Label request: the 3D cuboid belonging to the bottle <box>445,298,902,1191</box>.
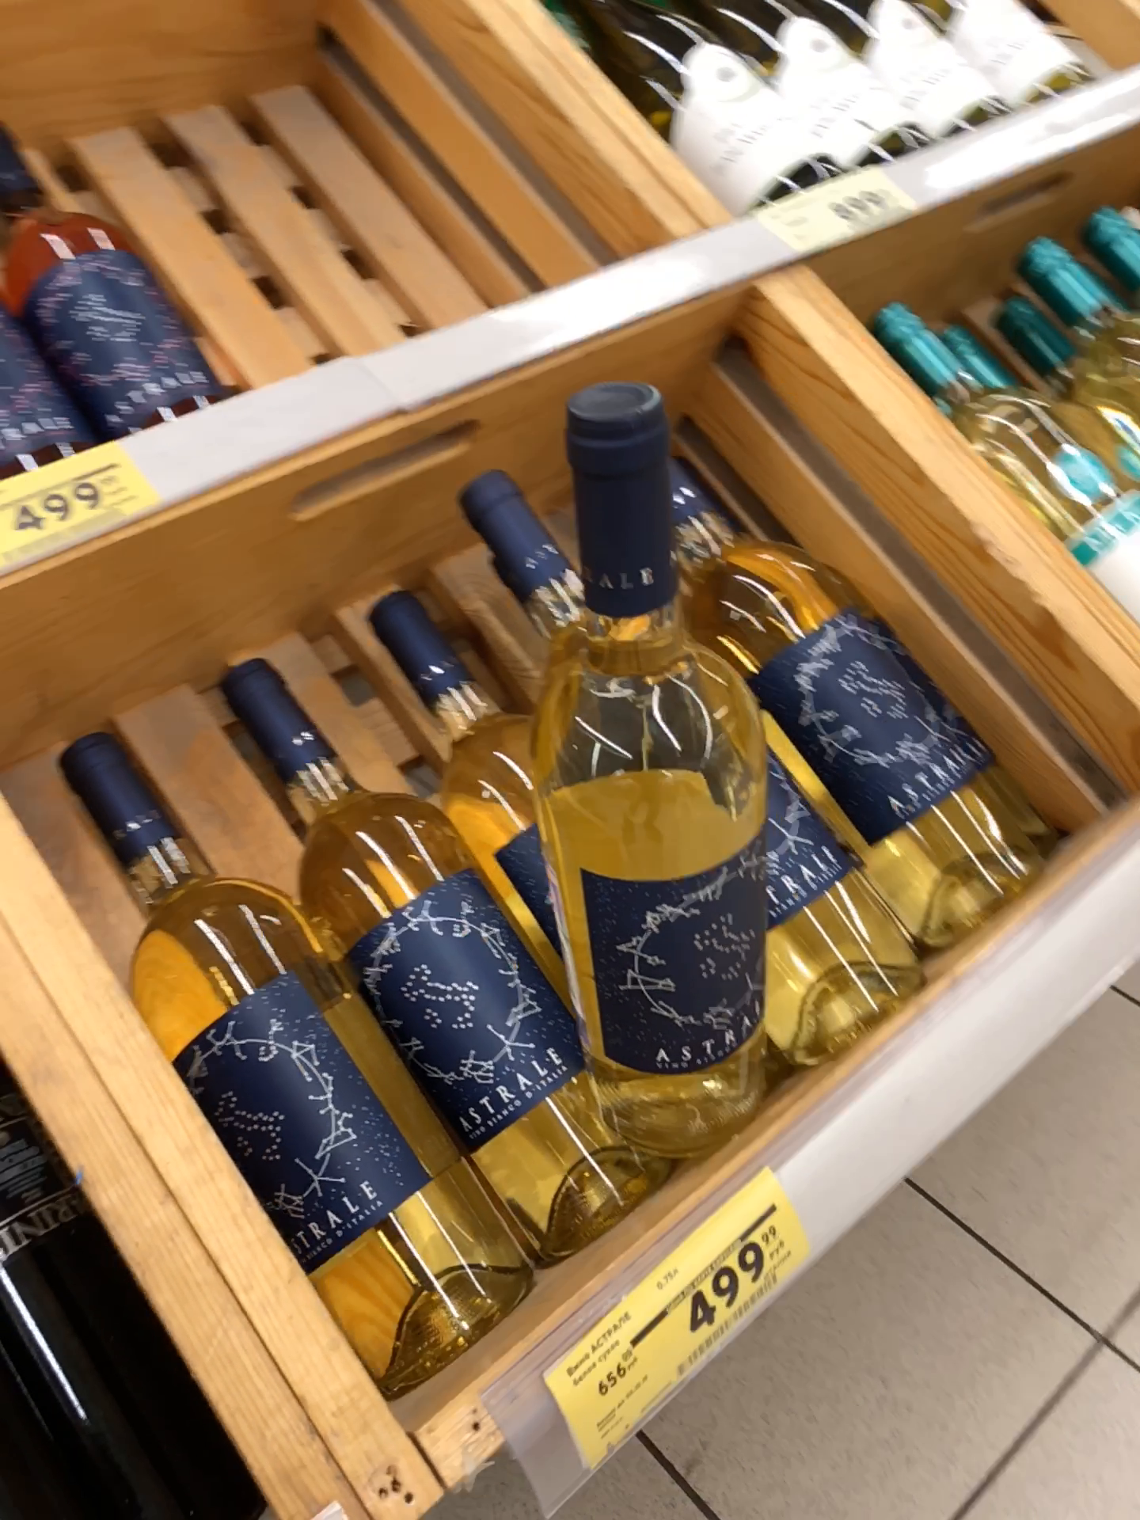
[{"bbox_3d":[0.037,0.009,0.413,0.090,0.278,0.080,-24,41,-22],"label":"bottle"}]
